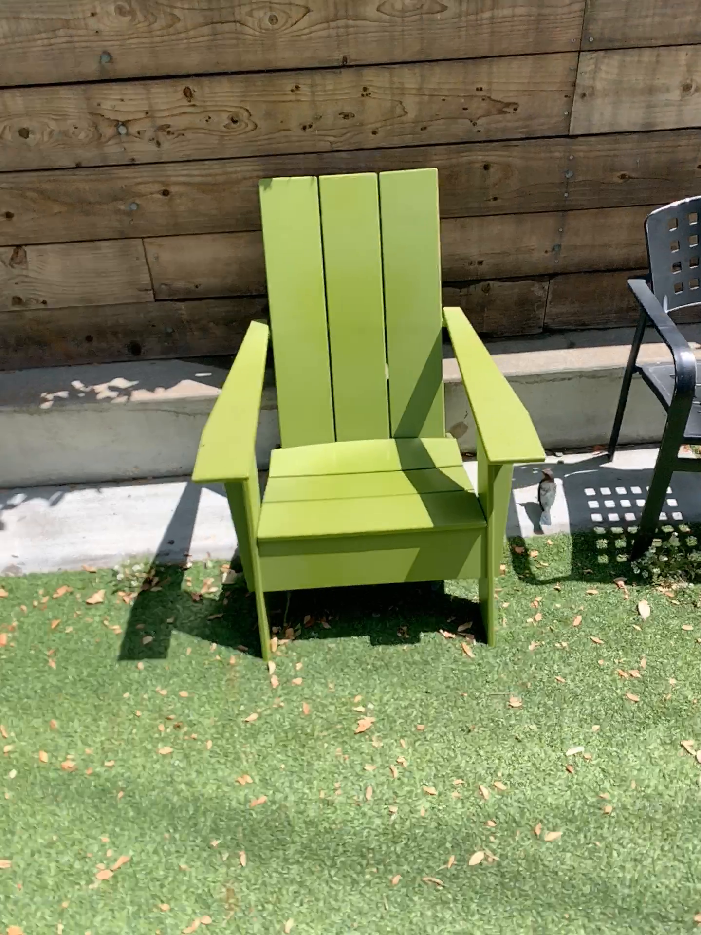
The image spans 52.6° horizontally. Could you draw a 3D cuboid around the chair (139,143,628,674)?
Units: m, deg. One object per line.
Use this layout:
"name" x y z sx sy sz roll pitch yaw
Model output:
"chair" 0.060 -0.166 1.663 0.720 0.845 0.906 -2 39 1
